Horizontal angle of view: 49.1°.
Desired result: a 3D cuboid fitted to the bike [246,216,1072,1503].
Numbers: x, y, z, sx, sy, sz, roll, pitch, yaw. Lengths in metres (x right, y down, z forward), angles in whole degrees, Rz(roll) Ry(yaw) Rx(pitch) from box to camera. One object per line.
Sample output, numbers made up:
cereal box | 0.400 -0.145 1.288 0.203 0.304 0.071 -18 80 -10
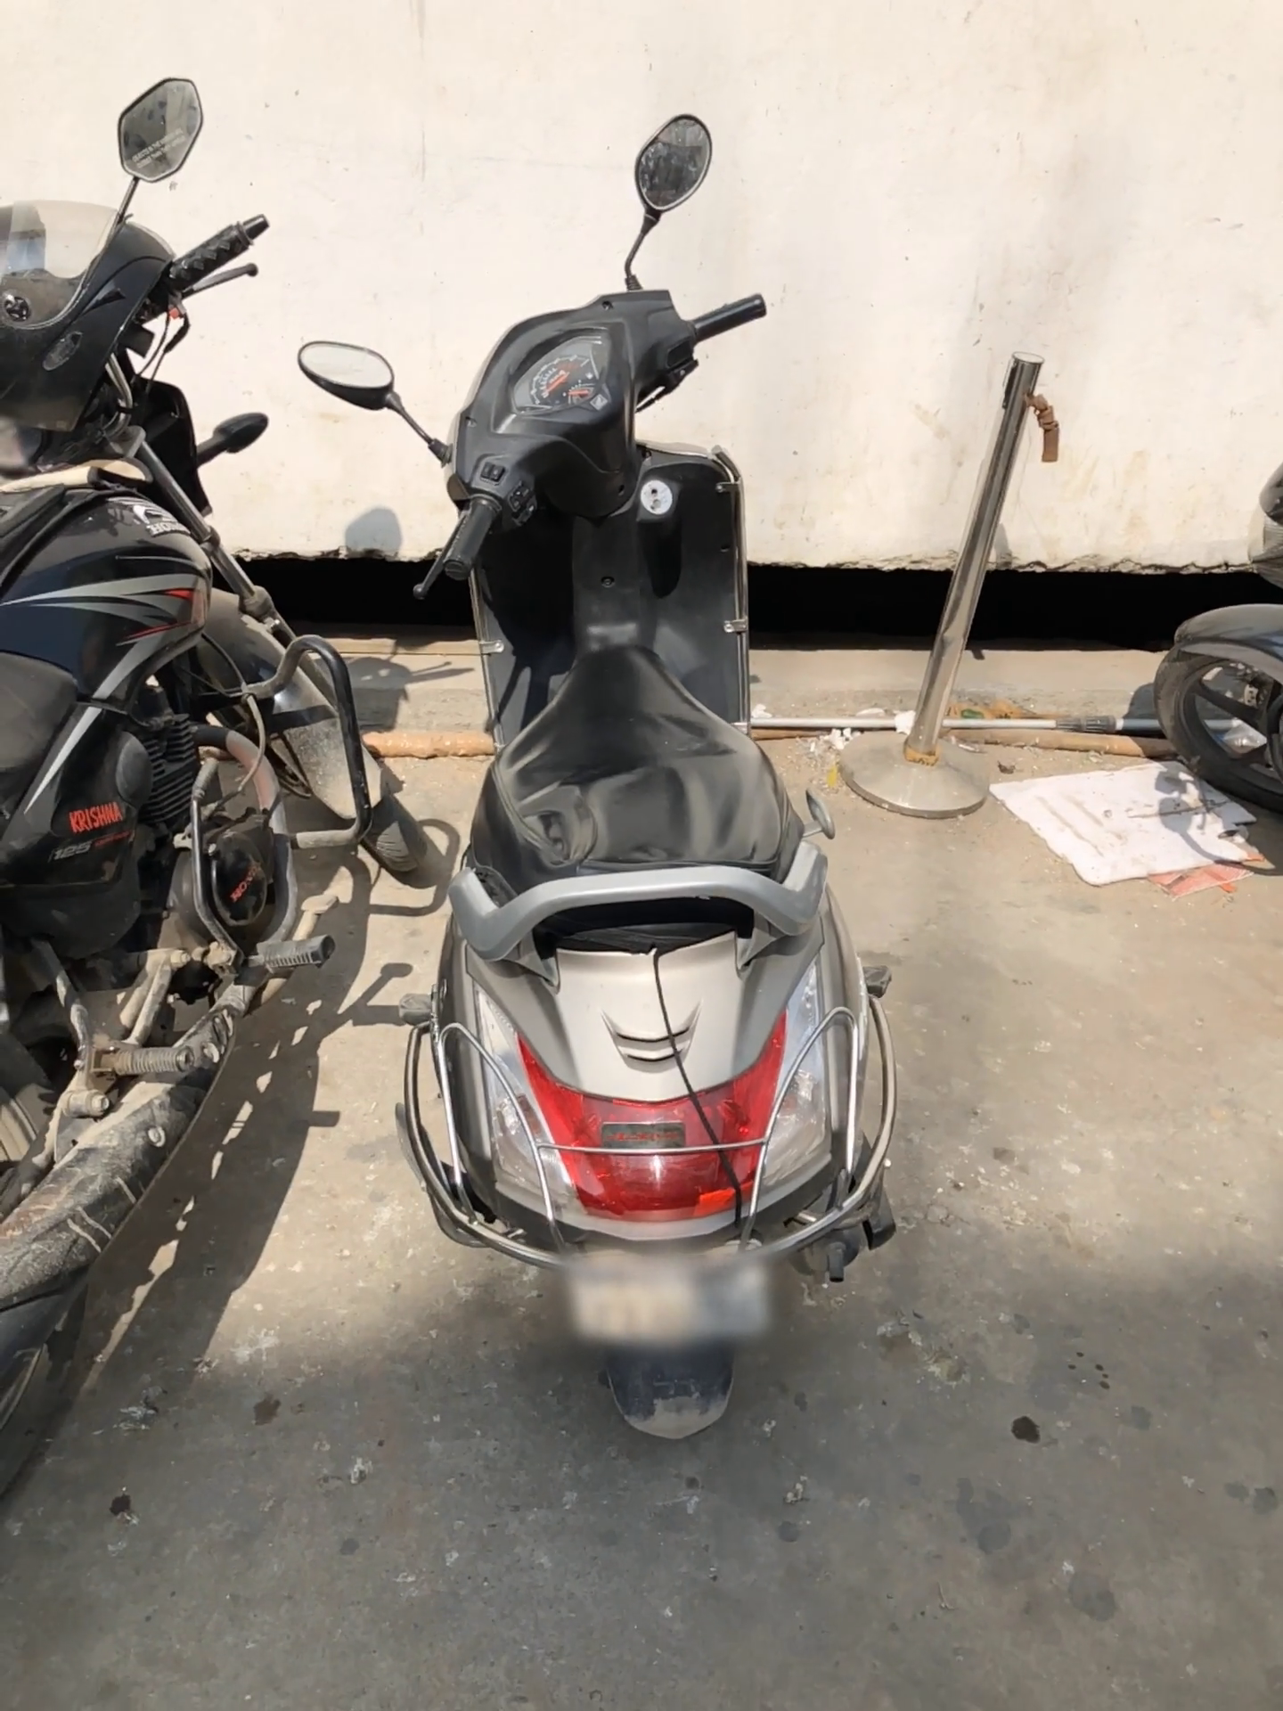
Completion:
bike | -0.059 -0.147 1.961 0.616 1.107 1.508 3 32 -6
